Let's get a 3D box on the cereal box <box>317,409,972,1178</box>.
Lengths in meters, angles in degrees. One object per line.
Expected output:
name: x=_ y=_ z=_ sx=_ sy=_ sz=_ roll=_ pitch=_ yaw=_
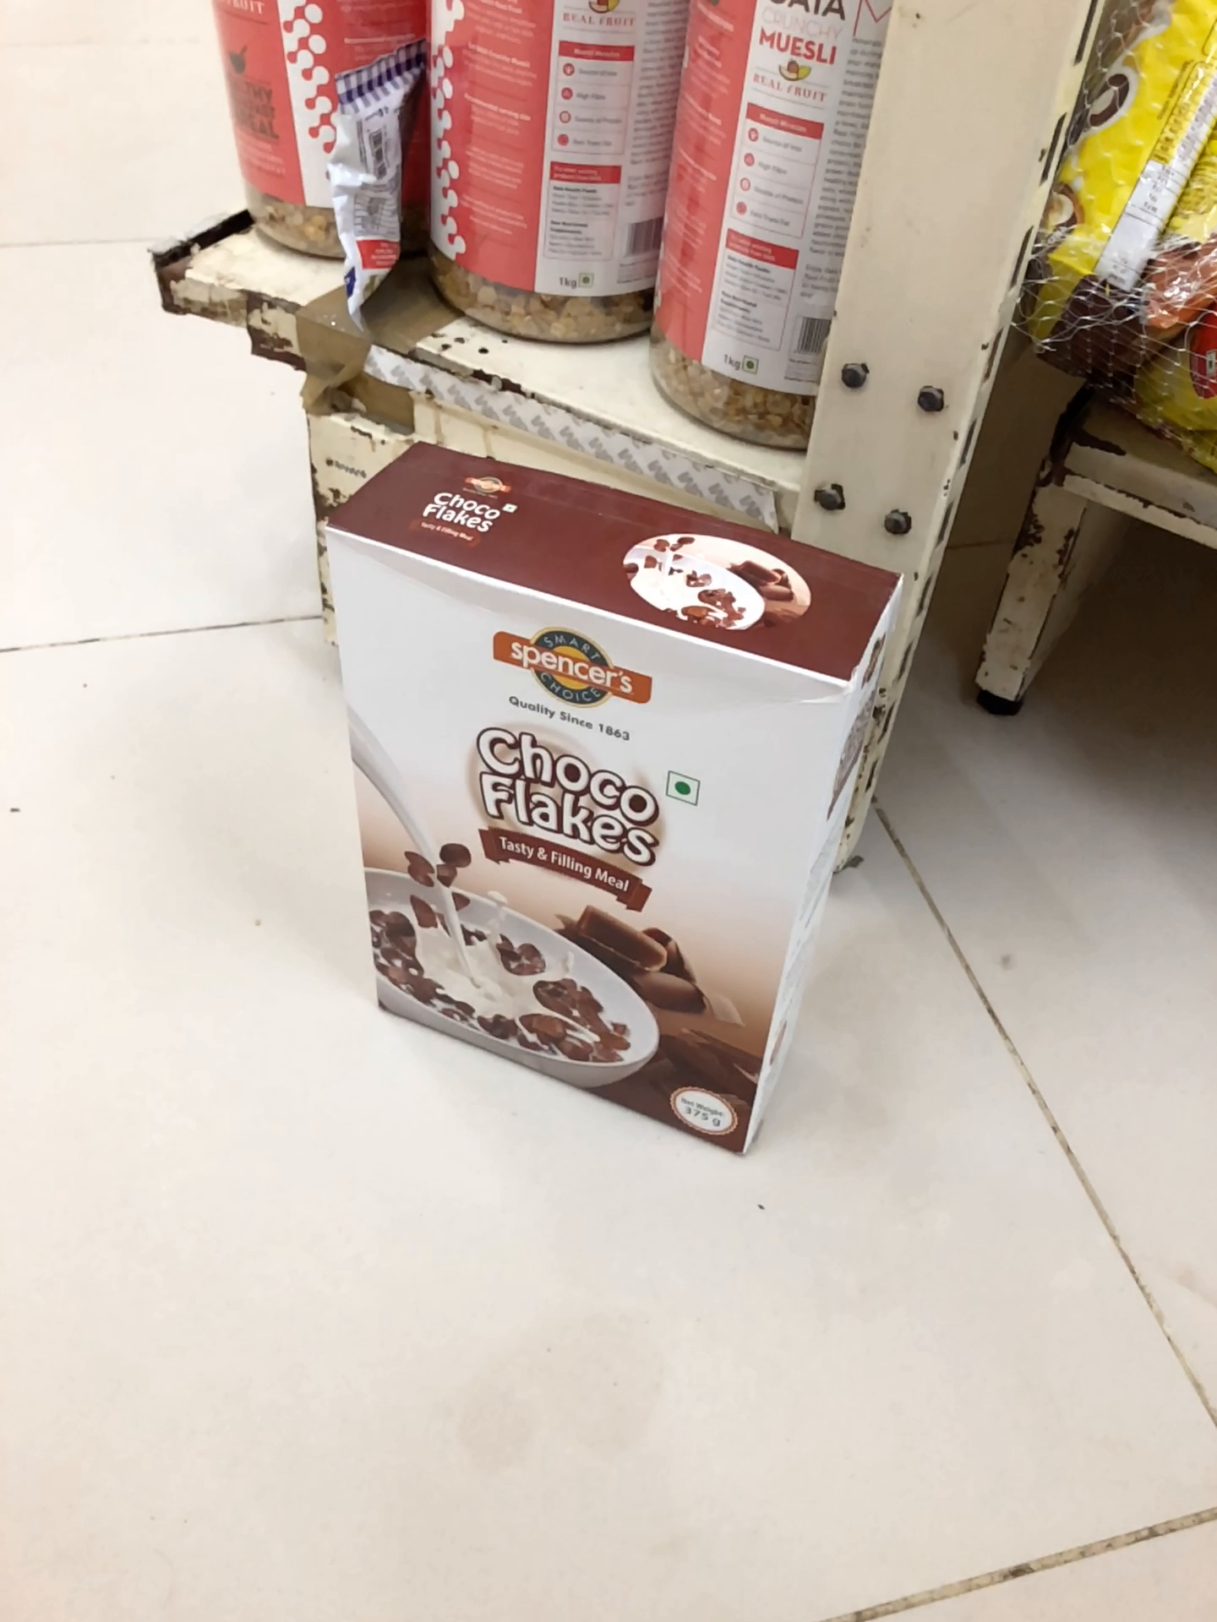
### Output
cereal box: x=0.005 y=0.006 z=0.495 sx=0.190 sy=0.258 sz=0.060 roll=19 pitch=46 yaw=16
